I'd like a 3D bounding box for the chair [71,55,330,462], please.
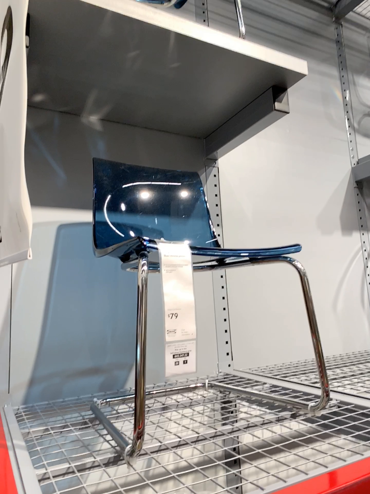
[{"bbox_3d":[-0.020,0.036,1.134,0.530,0.842,0.549,2,-10,-27],"label":"chair"}]
